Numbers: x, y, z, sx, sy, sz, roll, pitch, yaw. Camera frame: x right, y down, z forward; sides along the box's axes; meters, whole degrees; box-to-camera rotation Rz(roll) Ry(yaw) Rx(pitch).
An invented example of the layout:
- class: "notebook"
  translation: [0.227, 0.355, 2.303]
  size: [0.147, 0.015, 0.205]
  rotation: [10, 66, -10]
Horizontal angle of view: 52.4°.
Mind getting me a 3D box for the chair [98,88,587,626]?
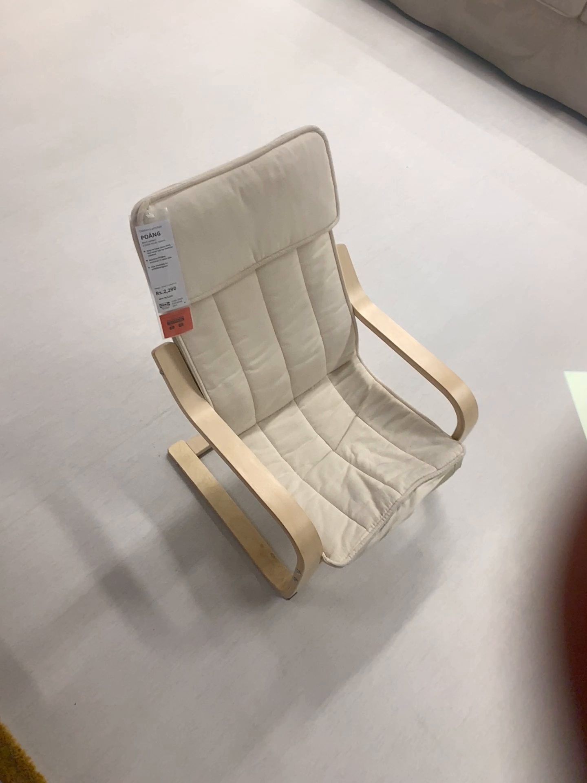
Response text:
- class: "chair"
  translation: [0.050, -0.001, 1.168]
  size: [0.491, 0.798, 0.540]
  rotation: [-35, 69, -25]
